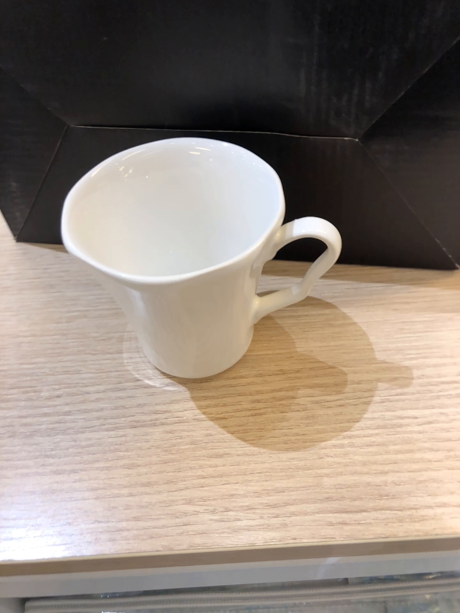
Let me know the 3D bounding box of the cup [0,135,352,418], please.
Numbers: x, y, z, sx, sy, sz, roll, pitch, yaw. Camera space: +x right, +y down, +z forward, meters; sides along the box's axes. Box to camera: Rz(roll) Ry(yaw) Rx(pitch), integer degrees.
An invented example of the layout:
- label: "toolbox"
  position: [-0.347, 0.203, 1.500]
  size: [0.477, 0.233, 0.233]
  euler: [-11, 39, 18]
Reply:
- label: "cup"
  position: [-0.012, -0.013, 0.212]
  size: [0.110, 0.079, 0.081]
  euler: [2, 50, 7]
